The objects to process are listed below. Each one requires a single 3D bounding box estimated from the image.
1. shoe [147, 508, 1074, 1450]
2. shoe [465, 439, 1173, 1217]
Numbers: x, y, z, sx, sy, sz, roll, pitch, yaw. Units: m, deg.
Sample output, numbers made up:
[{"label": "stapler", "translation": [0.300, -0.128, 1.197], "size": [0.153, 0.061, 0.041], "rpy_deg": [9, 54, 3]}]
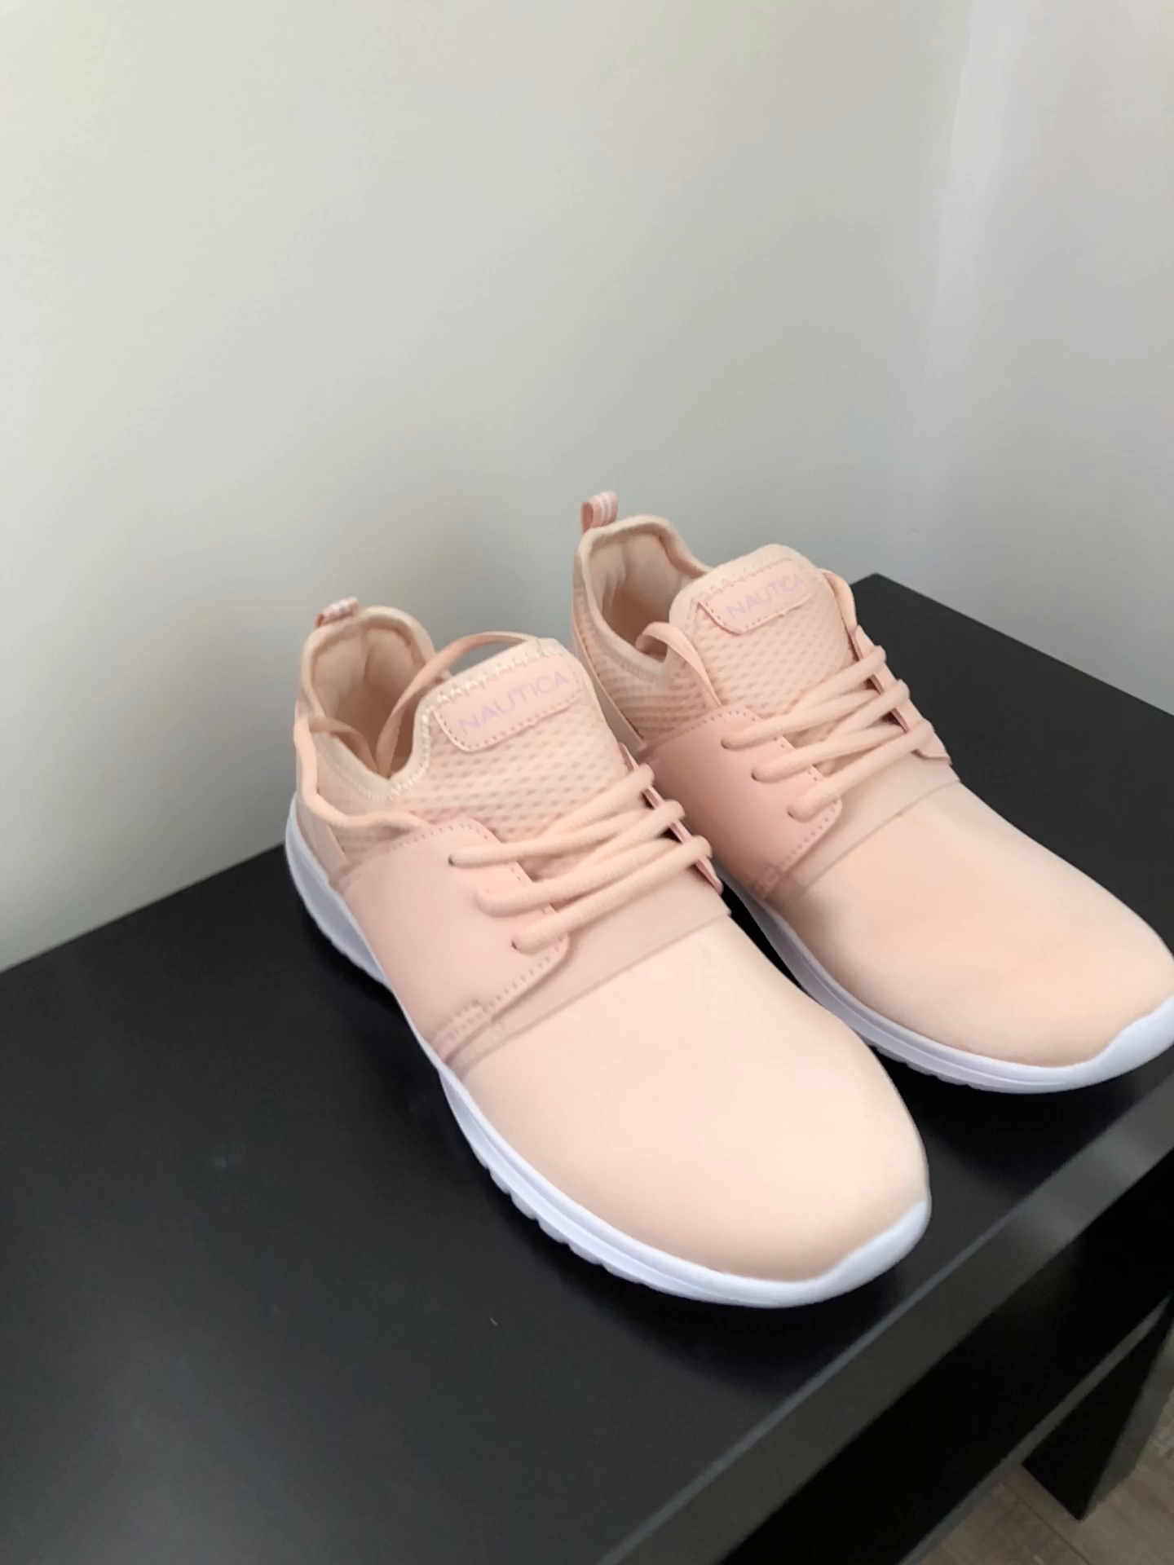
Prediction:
[{"label": "shoe", "translation": [-0.013, 0.029, 0.361], "size": [0.100, 0.110, 0.251], "rpy_deg": [-26, 43, -30]}, {"label": "shoe", "translation": [0.075, -0.007, 0.401], "size": [0.100, 0.110, 0.241], "rpy_deg": [-26, 43, -30]}]
